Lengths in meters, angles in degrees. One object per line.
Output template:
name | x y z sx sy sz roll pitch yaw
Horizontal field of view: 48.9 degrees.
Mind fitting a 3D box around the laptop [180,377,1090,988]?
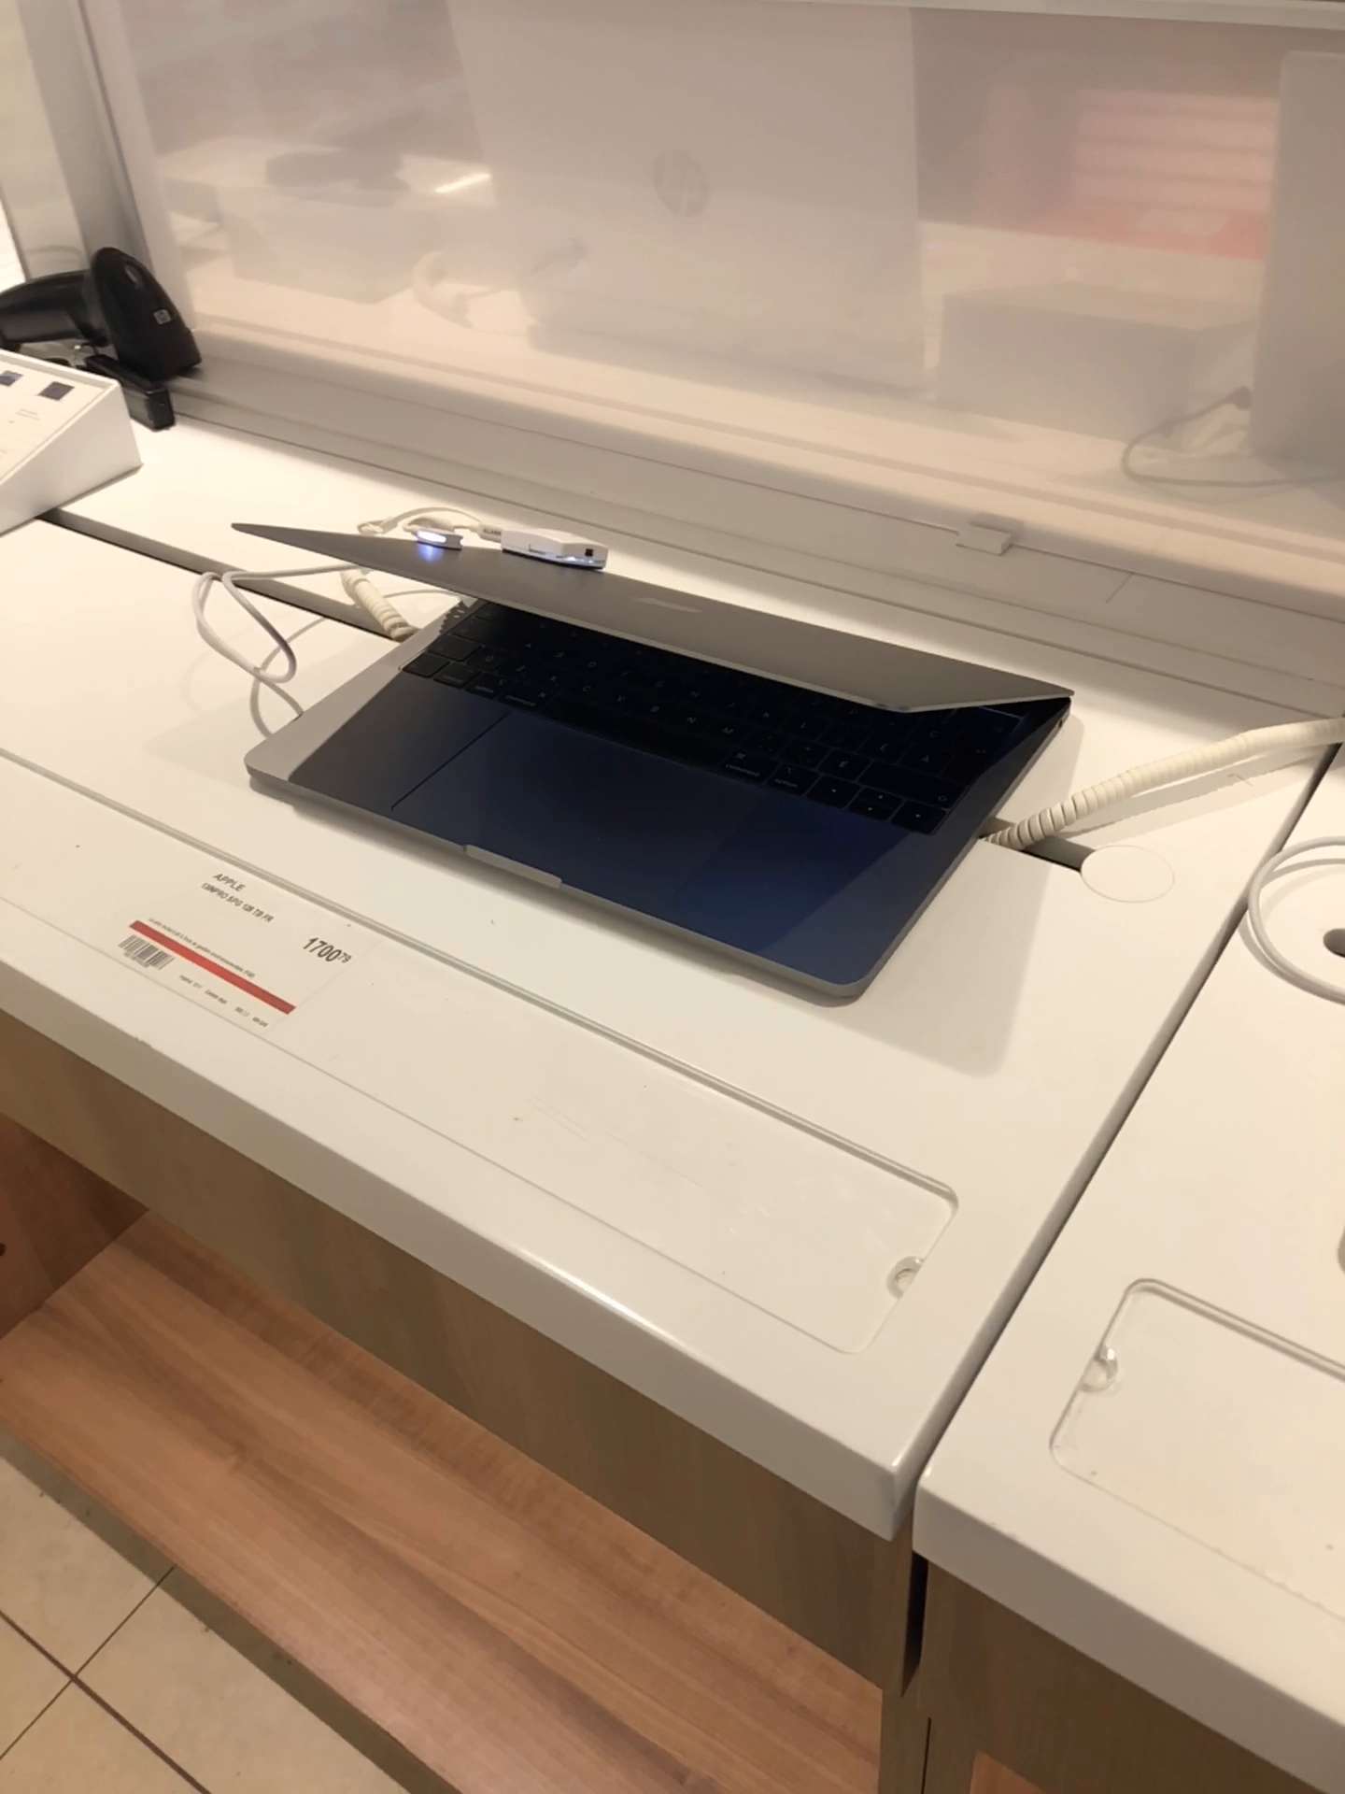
laptop | -0.013 -0.111 0.621 0.304 0.104 0.201 19 45 27
